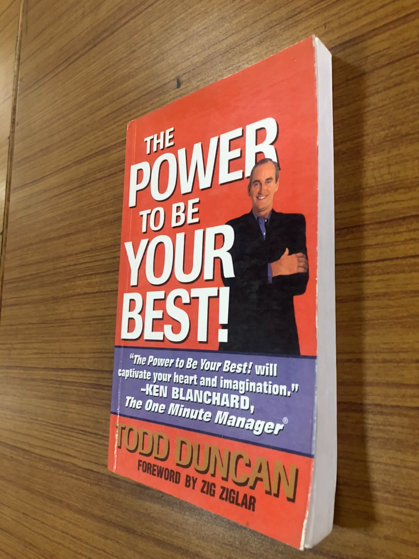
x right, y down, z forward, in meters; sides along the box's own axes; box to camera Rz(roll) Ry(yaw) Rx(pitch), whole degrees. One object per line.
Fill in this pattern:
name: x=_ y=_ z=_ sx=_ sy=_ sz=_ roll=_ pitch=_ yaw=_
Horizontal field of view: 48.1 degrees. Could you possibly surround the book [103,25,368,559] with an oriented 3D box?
book: x=0.005 y=0.004 z=0.254 sx=0.151 sy=0.030 sz=0.220 roll=-5 pitch=80 yaw=42
